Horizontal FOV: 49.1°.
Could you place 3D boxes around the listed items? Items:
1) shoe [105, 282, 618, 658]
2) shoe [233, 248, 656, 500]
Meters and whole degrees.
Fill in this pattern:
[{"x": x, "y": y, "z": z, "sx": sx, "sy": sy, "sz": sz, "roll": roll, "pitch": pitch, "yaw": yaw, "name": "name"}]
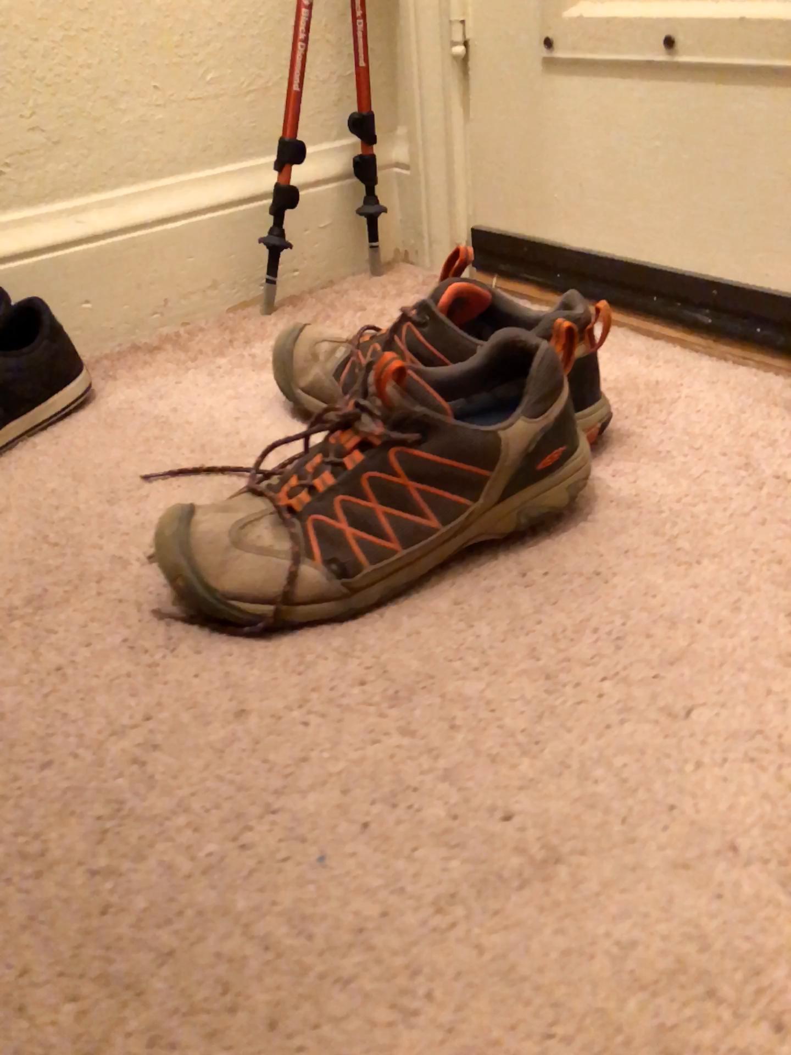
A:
[{"x": -0.019, "y": -0.045, "z": 0.529, "sx": 0.270, "sy": 0.129, "sz": 0.121, "roll": -15, "pitch": 34, "yaw": -13, "name": "shoe"}, {"x": 0.038, "y": -0.134, "z": 0.697, "sx": 0.300, "sy": 0.129, "sz": 0.121, "roll": 12, "pitch": 37, "yaw": 25, "name": "shoe"}]
